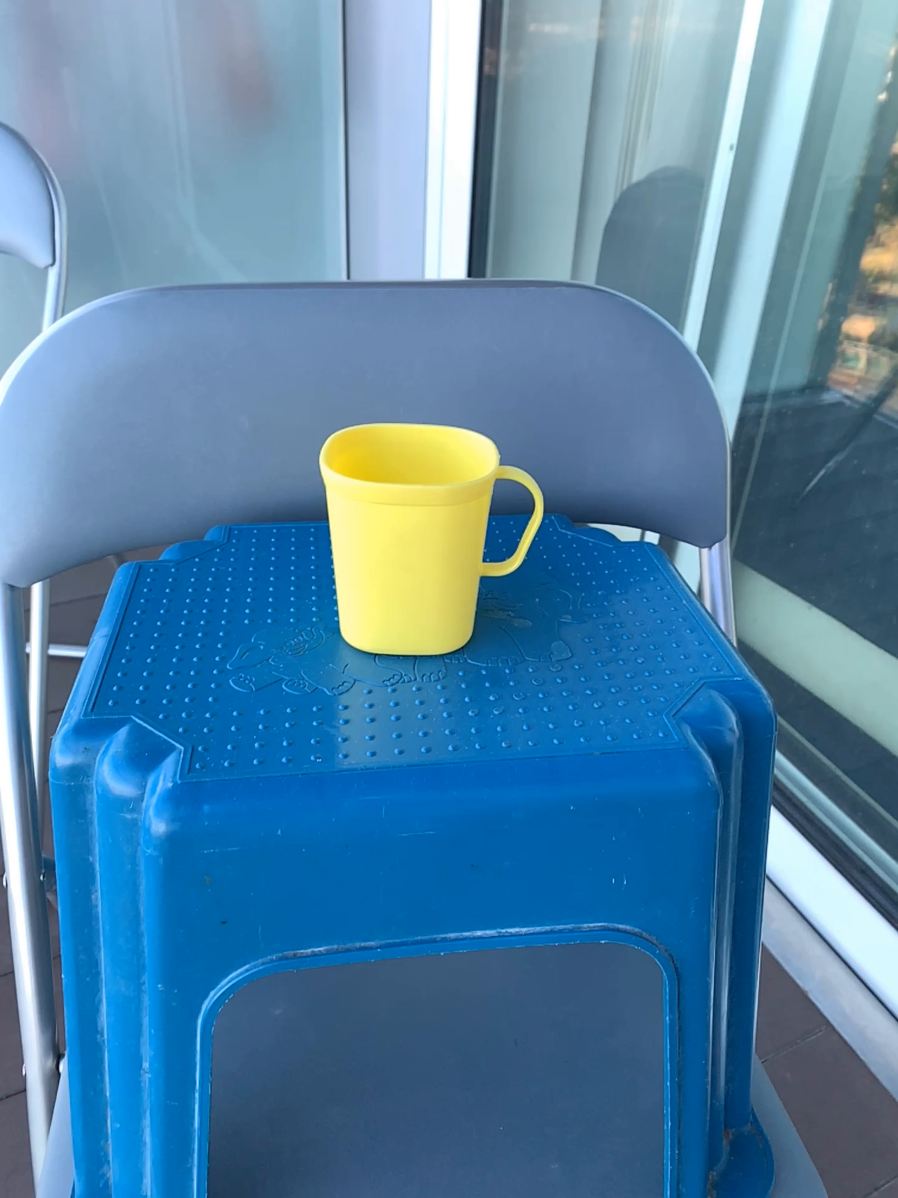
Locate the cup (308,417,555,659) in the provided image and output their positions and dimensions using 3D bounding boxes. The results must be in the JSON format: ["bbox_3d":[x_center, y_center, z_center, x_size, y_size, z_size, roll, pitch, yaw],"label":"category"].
[{"bbox_3d":[-0.007,-0.026,0.382,0.089,0.077,0.068,0,29,-1],"label":"cup"}]
